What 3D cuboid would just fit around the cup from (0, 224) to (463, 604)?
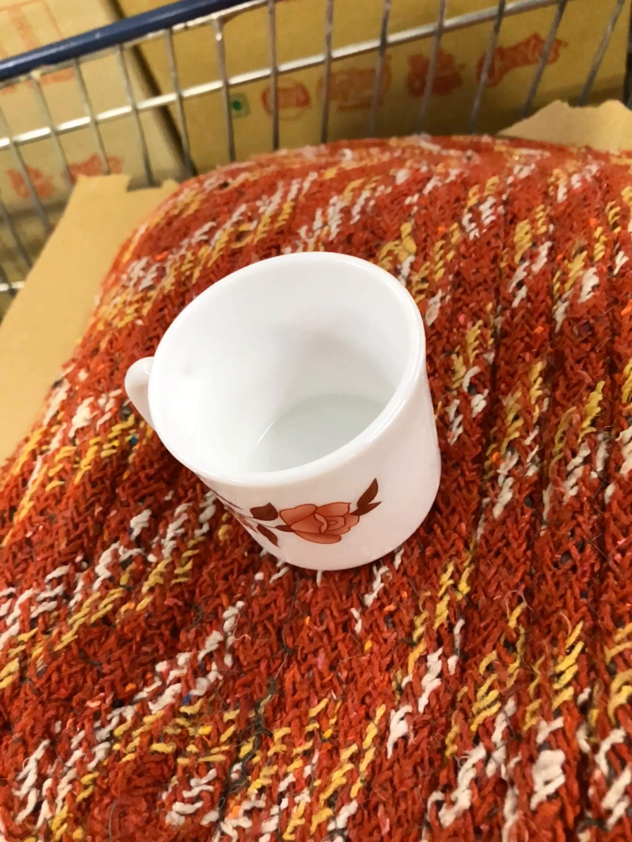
[{"bbox_3d":[-0.018,-0.004,0.172,0.090,0.060,0.060,6,58,21],"label":"cup"}]
